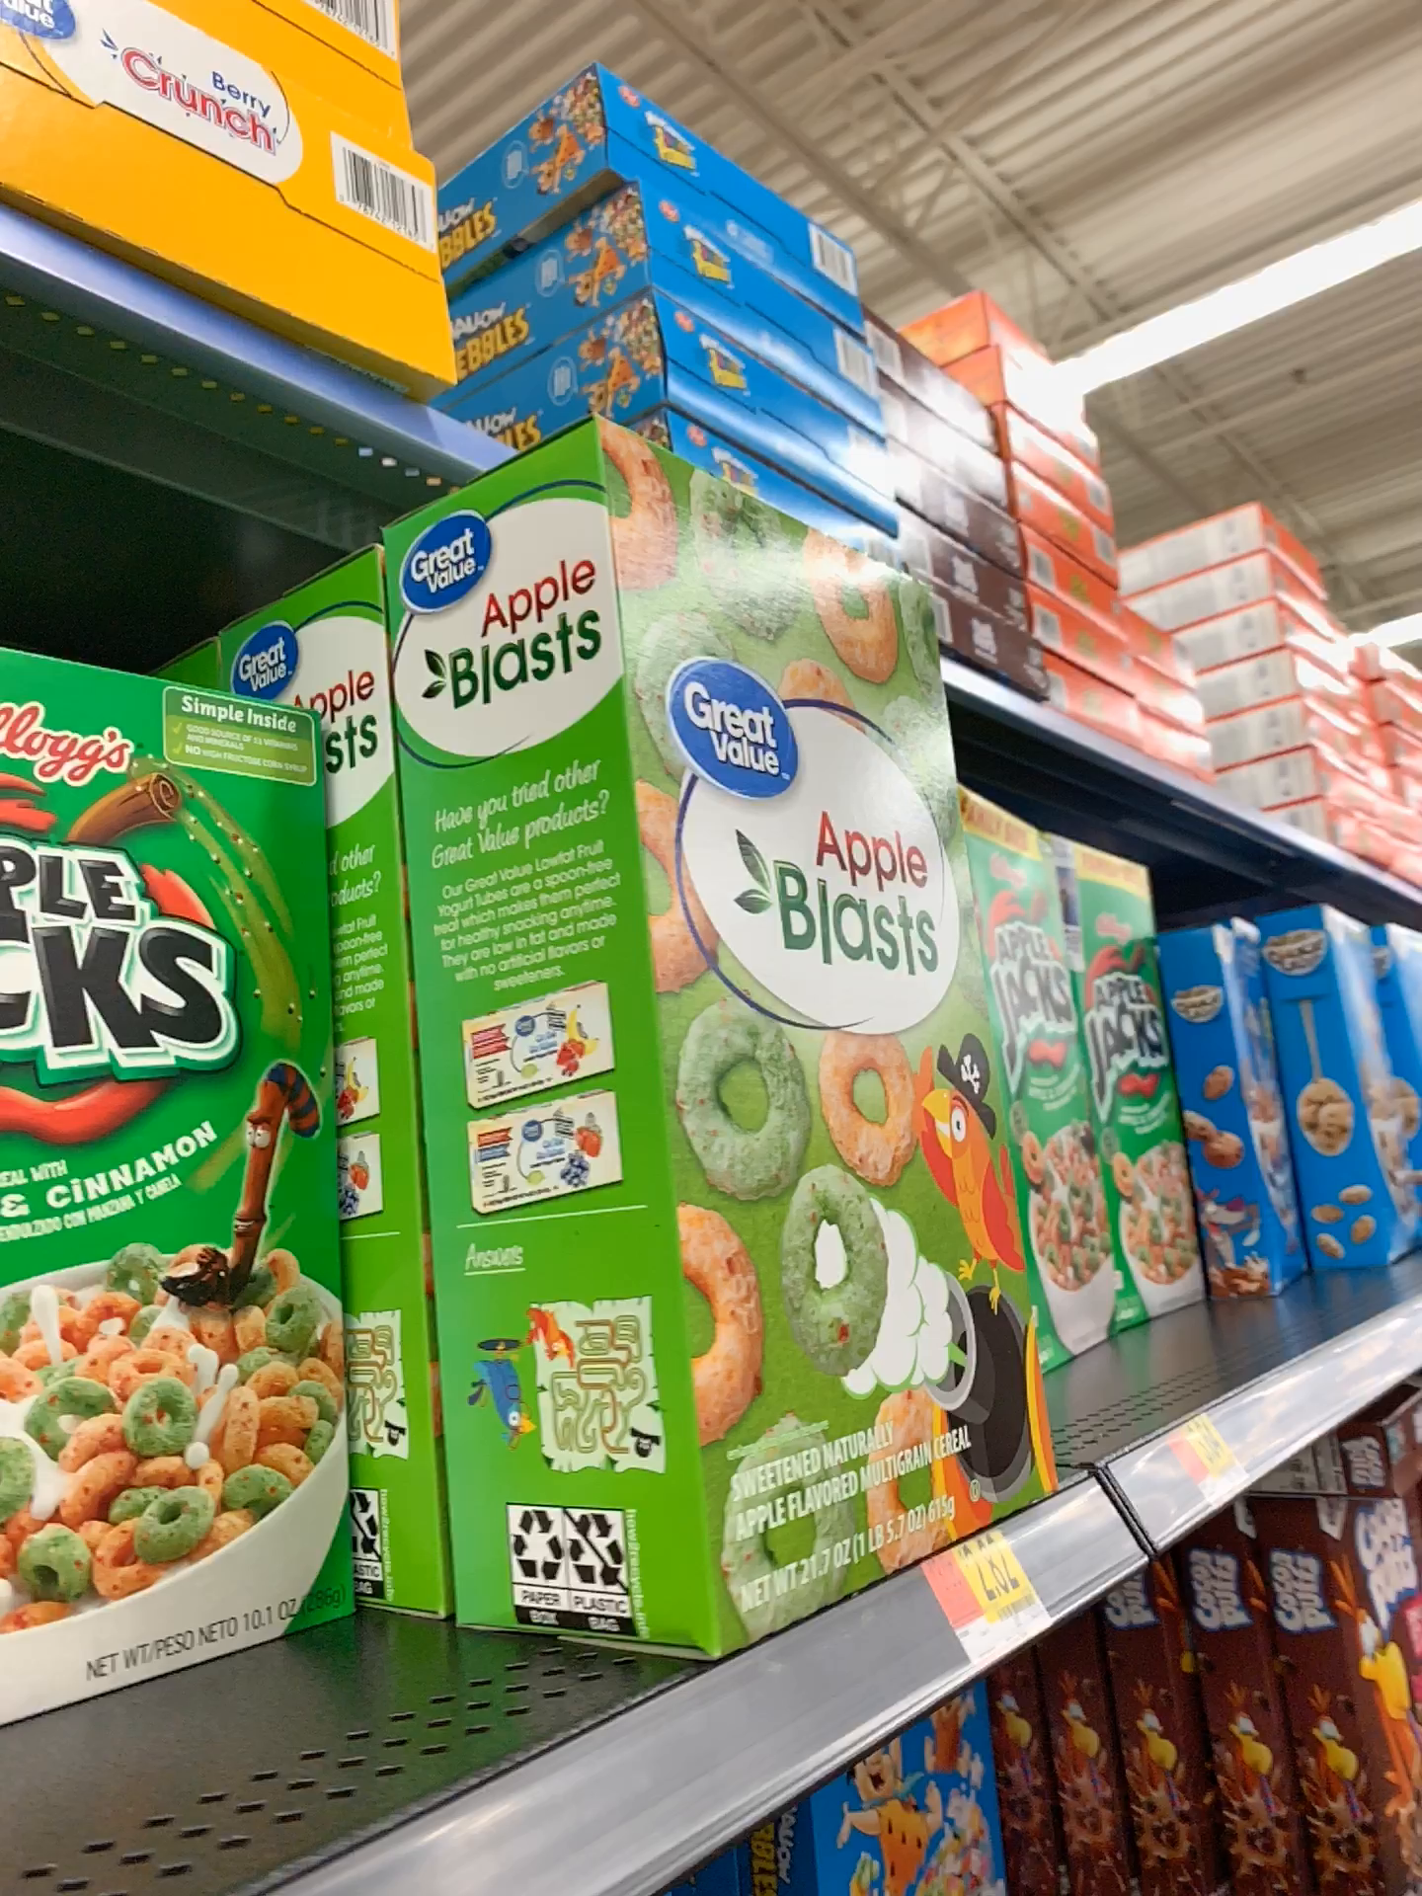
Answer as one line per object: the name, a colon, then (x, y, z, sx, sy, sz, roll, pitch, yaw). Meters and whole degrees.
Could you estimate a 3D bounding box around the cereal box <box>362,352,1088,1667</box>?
cereal box: (0.009, 0.018, 0.471, 0.100, 0.331, 0.200, -14, -13, 36)
